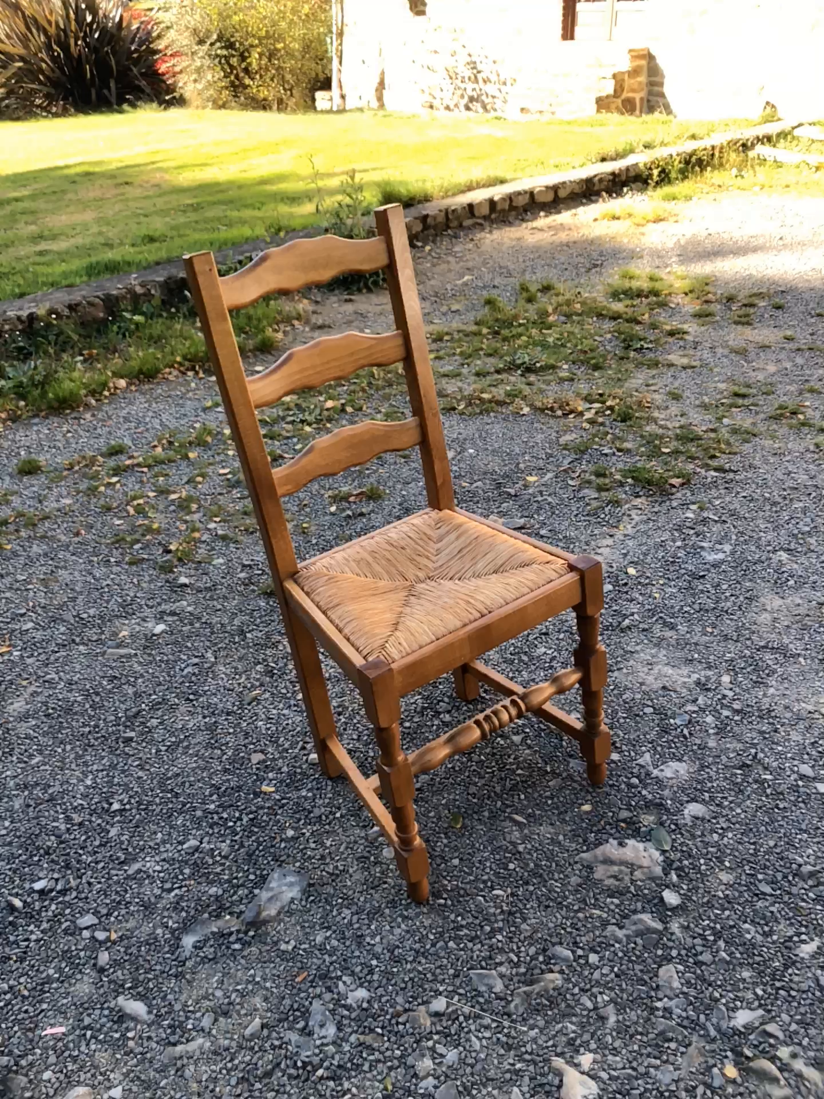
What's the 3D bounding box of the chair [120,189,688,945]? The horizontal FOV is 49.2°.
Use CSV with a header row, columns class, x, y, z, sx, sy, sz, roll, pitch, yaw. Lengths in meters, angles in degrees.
class,x,y,z,sx,sy,sz,roll,pitch,yaw
chair,0.019,-0.017,1.365,0.532,0.885,0.521,-24,33,-28
